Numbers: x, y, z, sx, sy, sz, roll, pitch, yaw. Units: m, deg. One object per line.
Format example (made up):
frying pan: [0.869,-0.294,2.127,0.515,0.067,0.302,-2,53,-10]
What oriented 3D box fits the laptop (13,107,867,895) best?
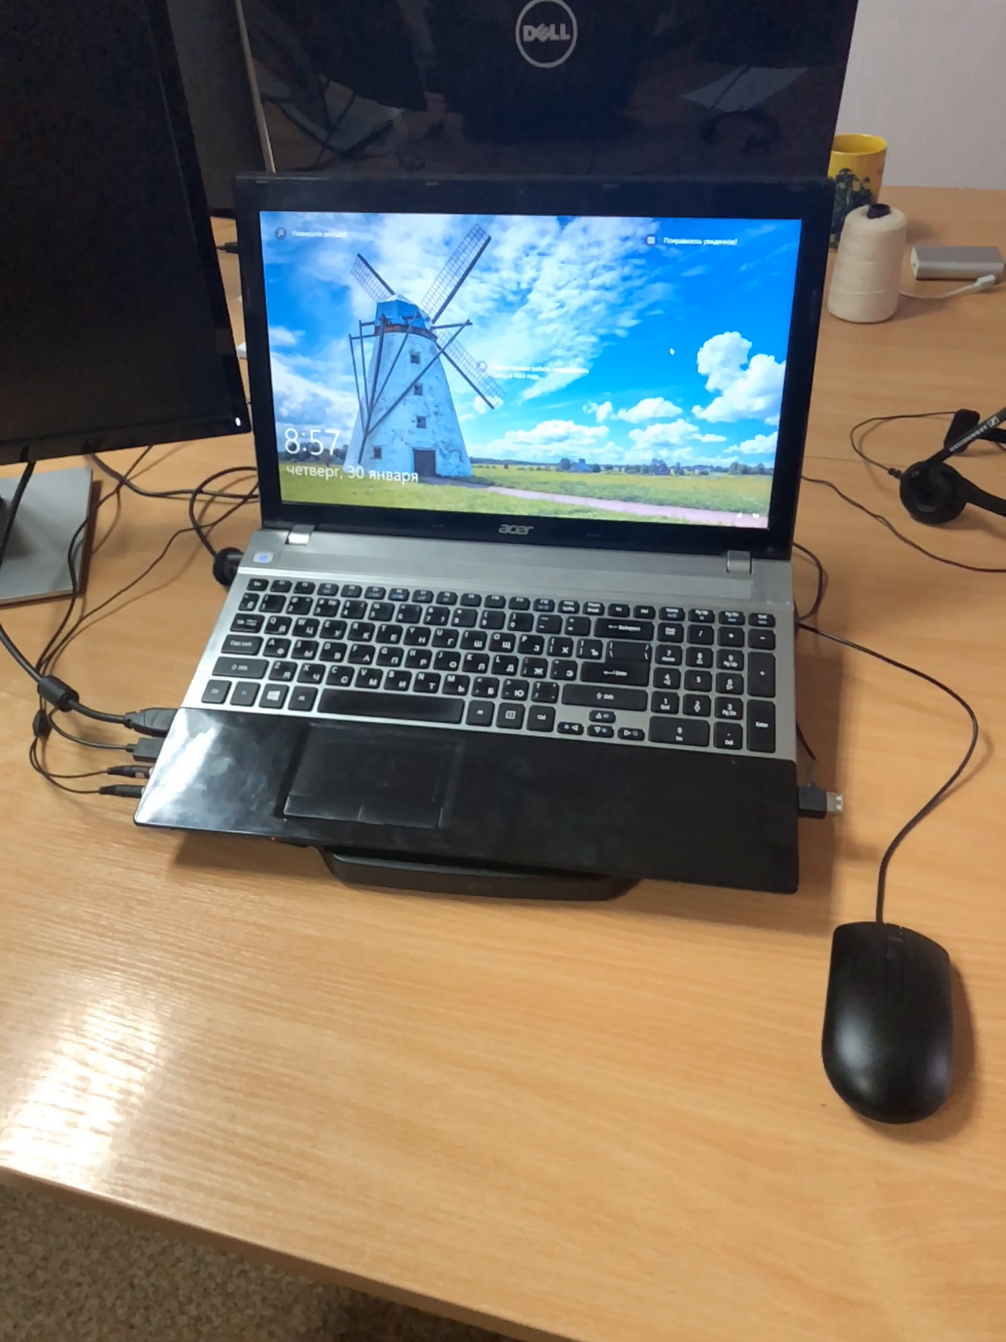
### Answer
laptop: [-0.008,-0.122,0.649,0.373,0.211,0.361,5,50,8]
